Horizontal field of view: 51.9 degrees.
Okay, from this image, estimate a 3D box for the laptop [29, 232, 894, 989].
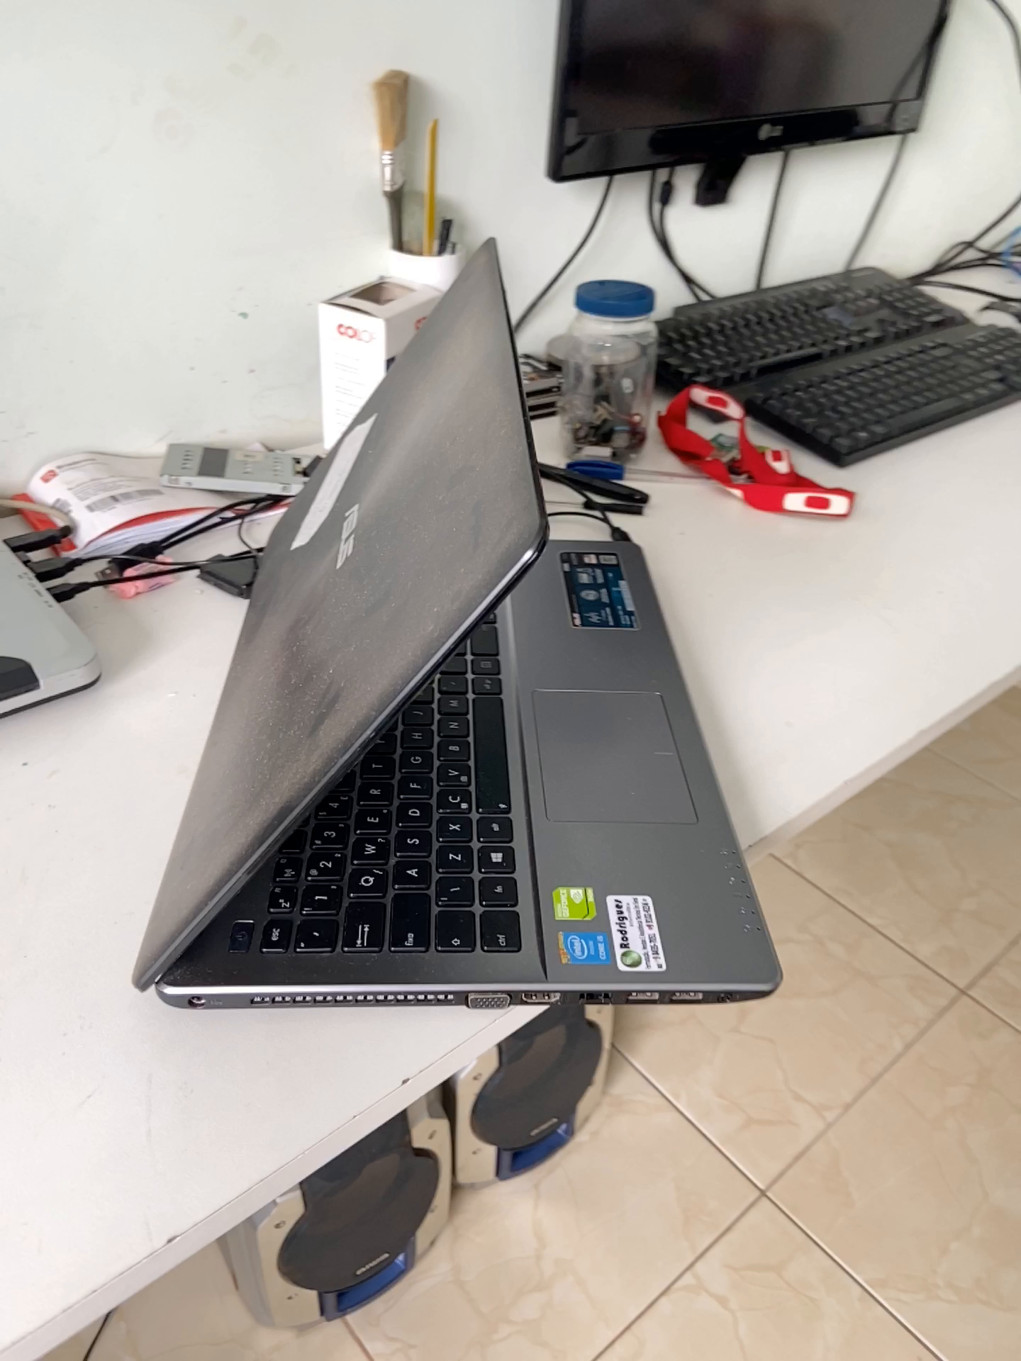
[{"bbox_3d":[-0.025,-0.065,0.501,0.245,0.190,0.367,0,35,-4],"label":"laptop"}]
